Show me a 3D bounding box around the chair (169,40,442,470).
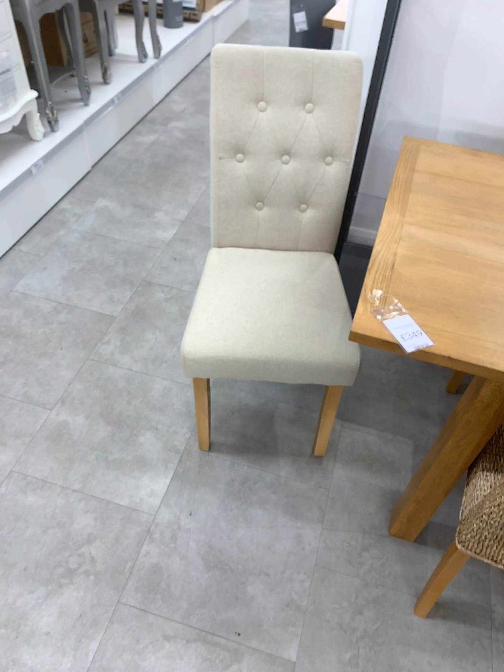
[{"bbox_3d":[0.055,-0.164,1.316,0.420,0.872,0.616,1,45,-3],"label":"chair"}]
